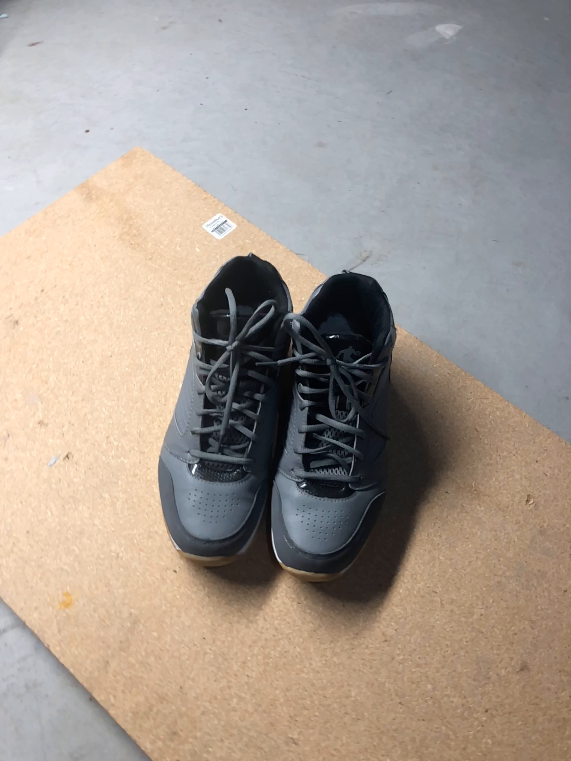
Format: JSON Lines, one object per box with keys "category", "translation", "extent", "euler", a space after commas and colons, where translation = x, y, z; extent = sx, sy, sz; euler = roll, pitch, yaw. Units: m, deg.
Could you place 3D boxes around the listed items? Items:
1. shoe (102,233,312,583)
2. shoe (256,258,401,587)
{"category": "shoe", "translation": [-0.057, 0.019, 0.573], "extent": [0.110, 0.120, 0.280], "euler": [10, 60, 3]}
{"category": "shoe", "translation": [0.041, 0.038, 0.585], "extent": [0.100, 0.140, 0.260], "euler": [7, 60, 1]}
